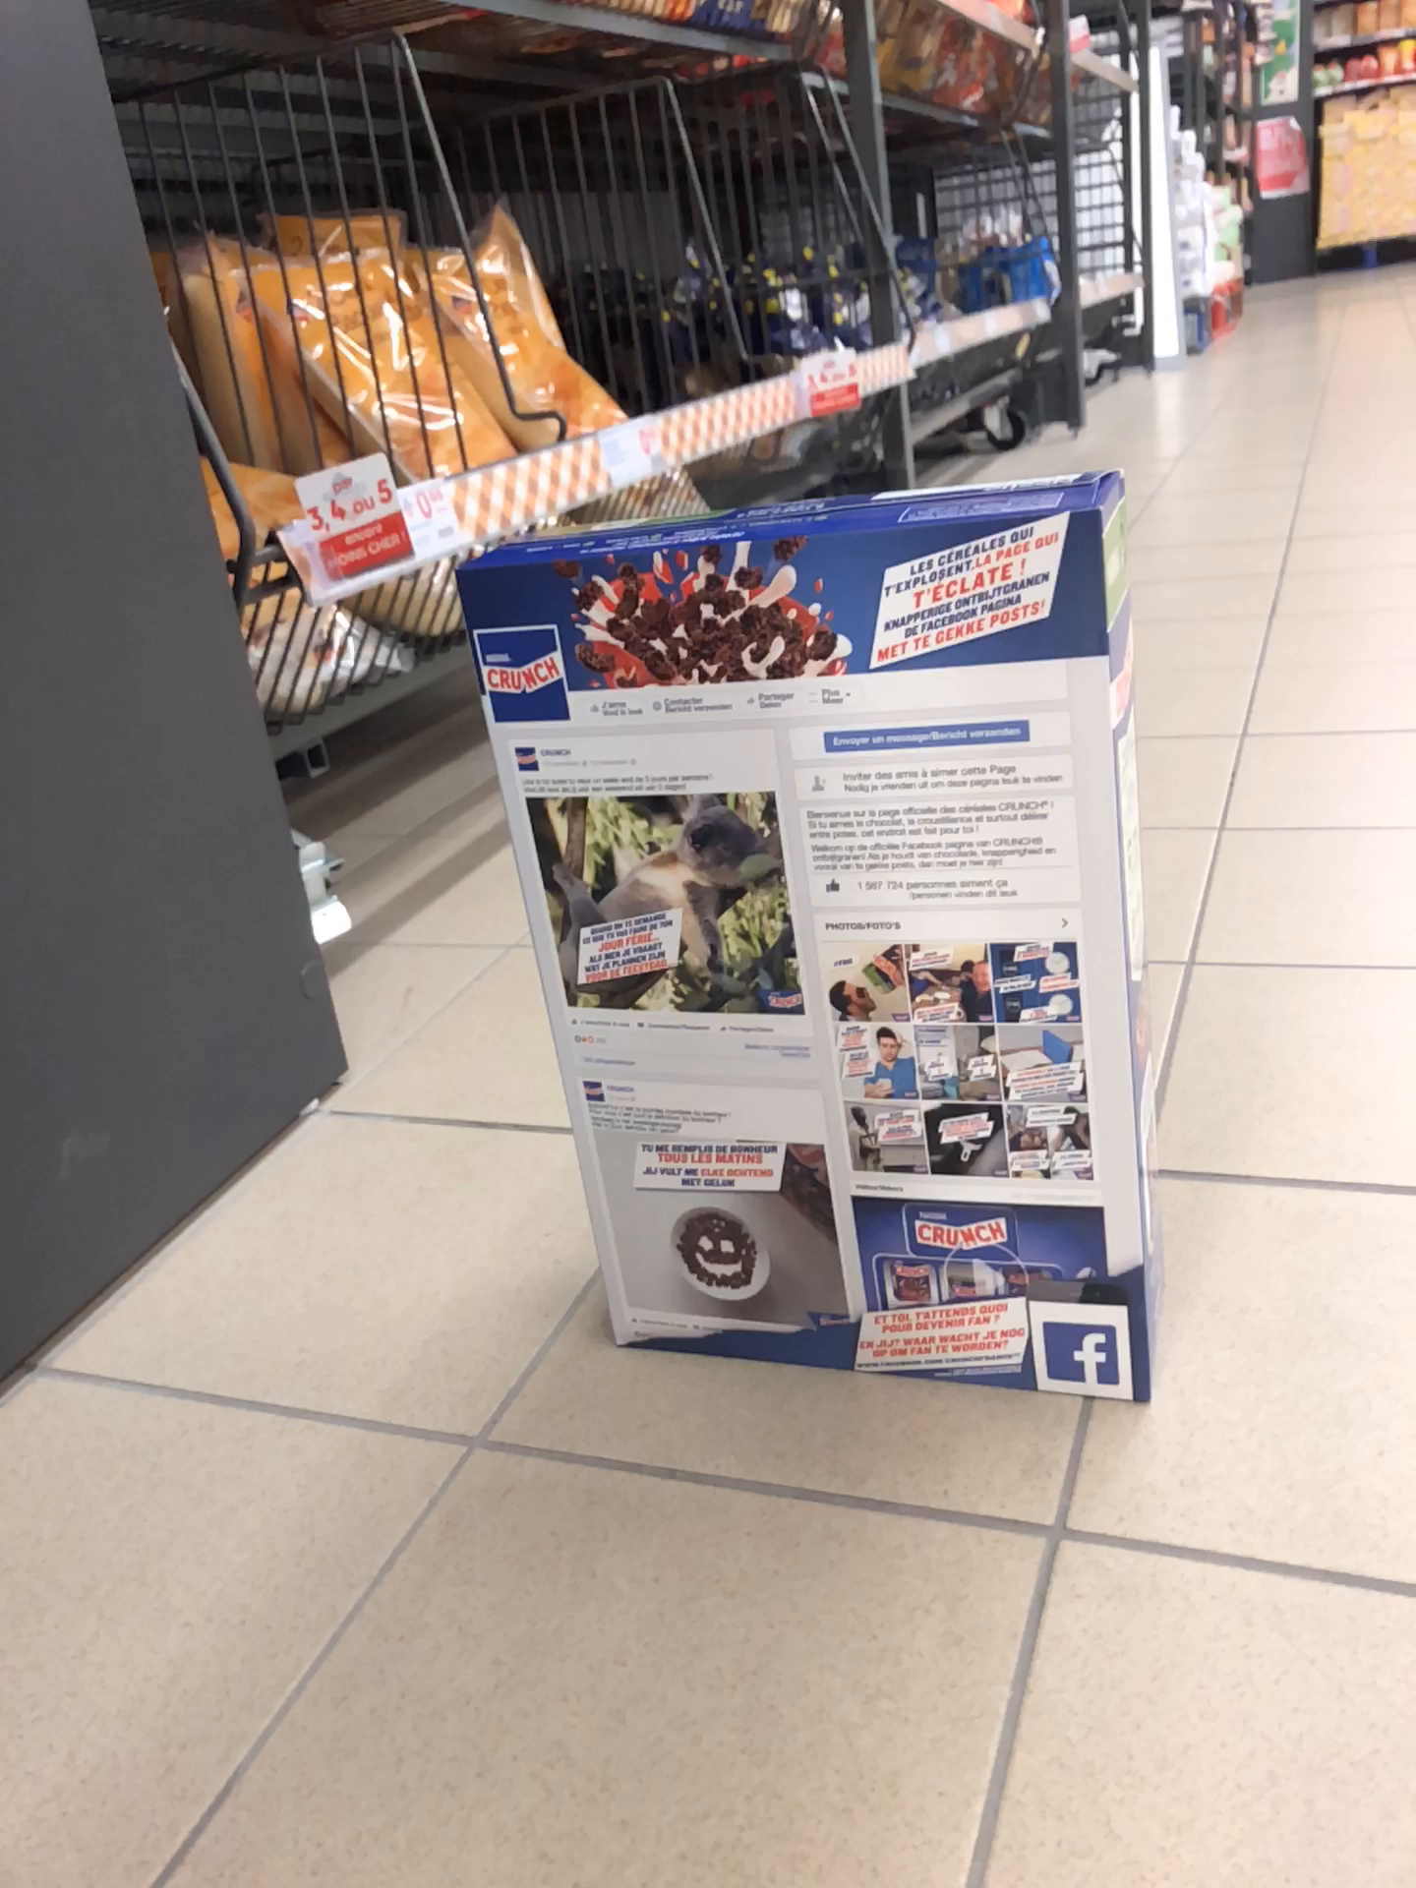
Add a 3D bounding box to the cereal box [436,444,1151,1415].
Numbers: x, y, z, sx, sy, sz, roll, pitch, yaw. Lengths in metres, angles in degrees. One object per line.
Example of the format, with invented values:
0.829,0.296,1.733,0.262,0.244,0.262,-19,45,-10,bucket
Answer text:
0.039,0.001,0.505,0.190,0.289,0.070,0,22,20,cereal box
